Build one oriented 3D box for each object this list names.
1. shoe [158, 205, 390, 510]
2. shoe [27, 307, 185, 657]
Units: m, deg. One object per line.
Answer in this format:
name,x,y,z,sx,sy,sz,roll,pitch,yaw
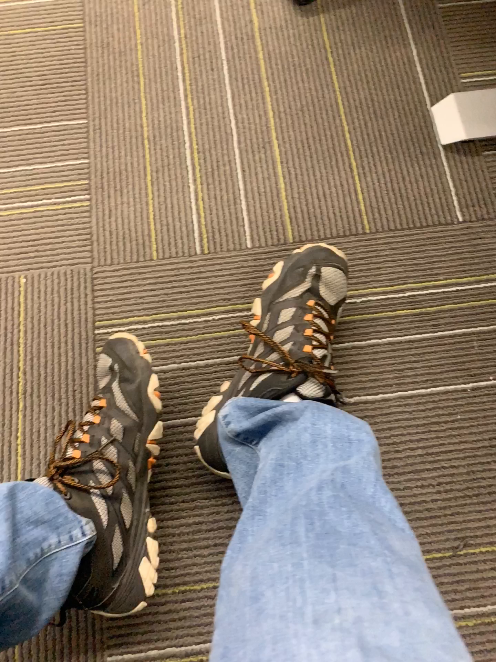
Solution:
shoe,0.038,0.025,0.608,0.119,0.119,0.325,15,78,42
shoe,-0.162,0.150,0.574,0.127,0.119,0.325,5,77,-38
